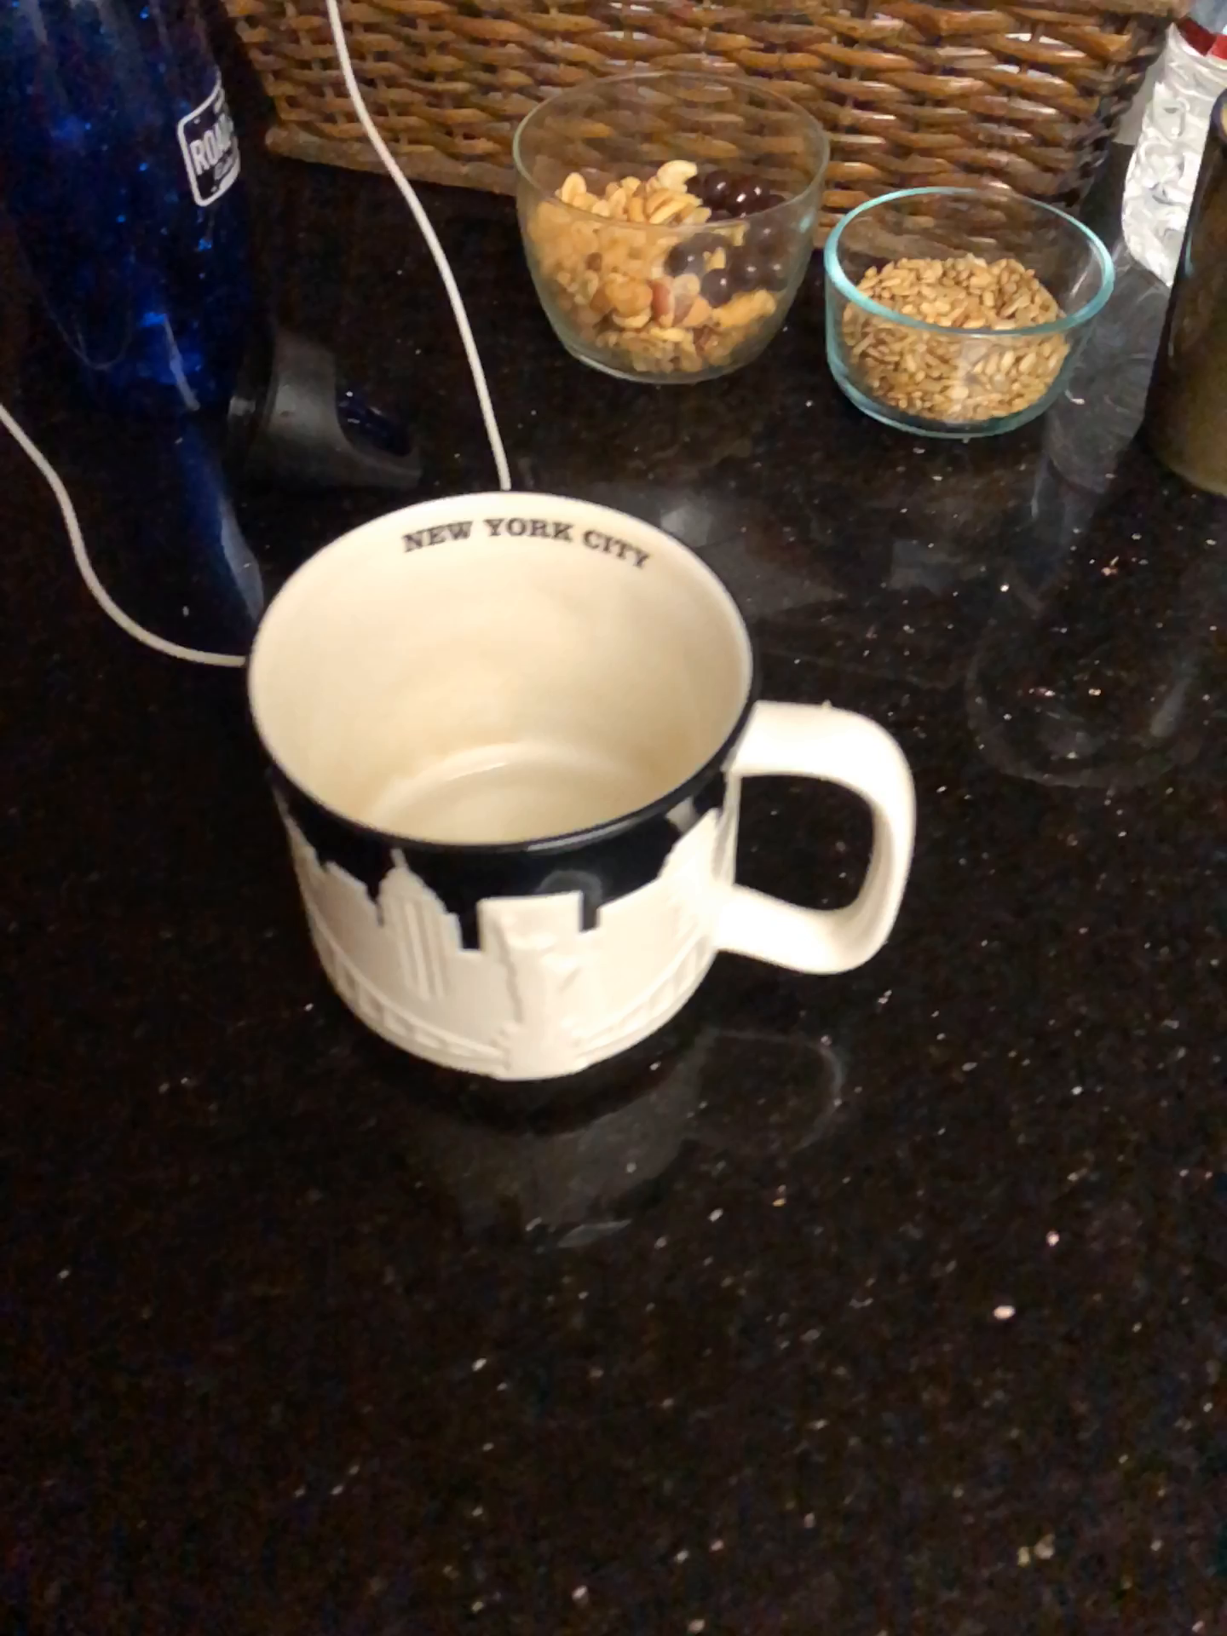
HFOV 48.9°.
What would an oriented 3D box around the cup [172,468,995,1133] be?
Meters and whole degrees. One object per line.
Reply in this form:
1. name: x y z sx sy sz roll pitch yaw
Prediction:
1. cup: -0.001 -0.005 0.313 0.150 0.090 0.111 5 52 4
